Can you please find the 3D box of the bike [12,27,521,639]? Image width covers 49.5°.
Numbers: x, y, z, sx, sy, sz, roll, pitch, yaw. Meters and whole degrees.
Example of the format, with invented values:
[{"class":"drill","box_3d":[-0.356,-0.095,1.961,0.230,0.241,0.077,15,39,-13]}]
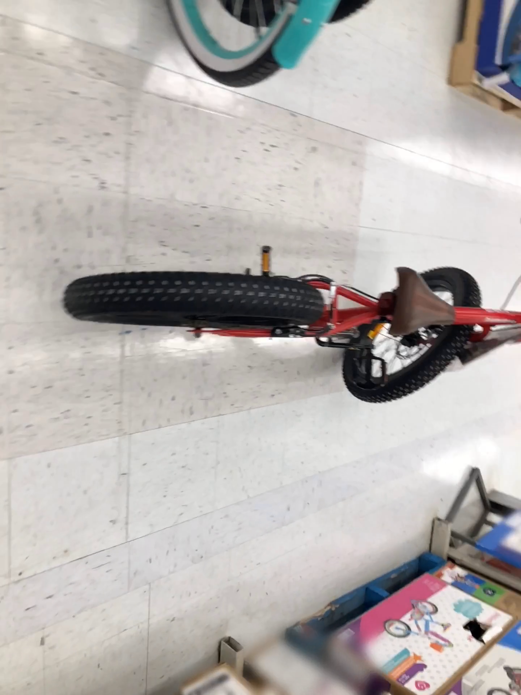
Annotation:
[{"class":"bike","box_3d":[0.262,-0.120,1.404,1.364,0.967,0.607,-8,105,-47]}]
